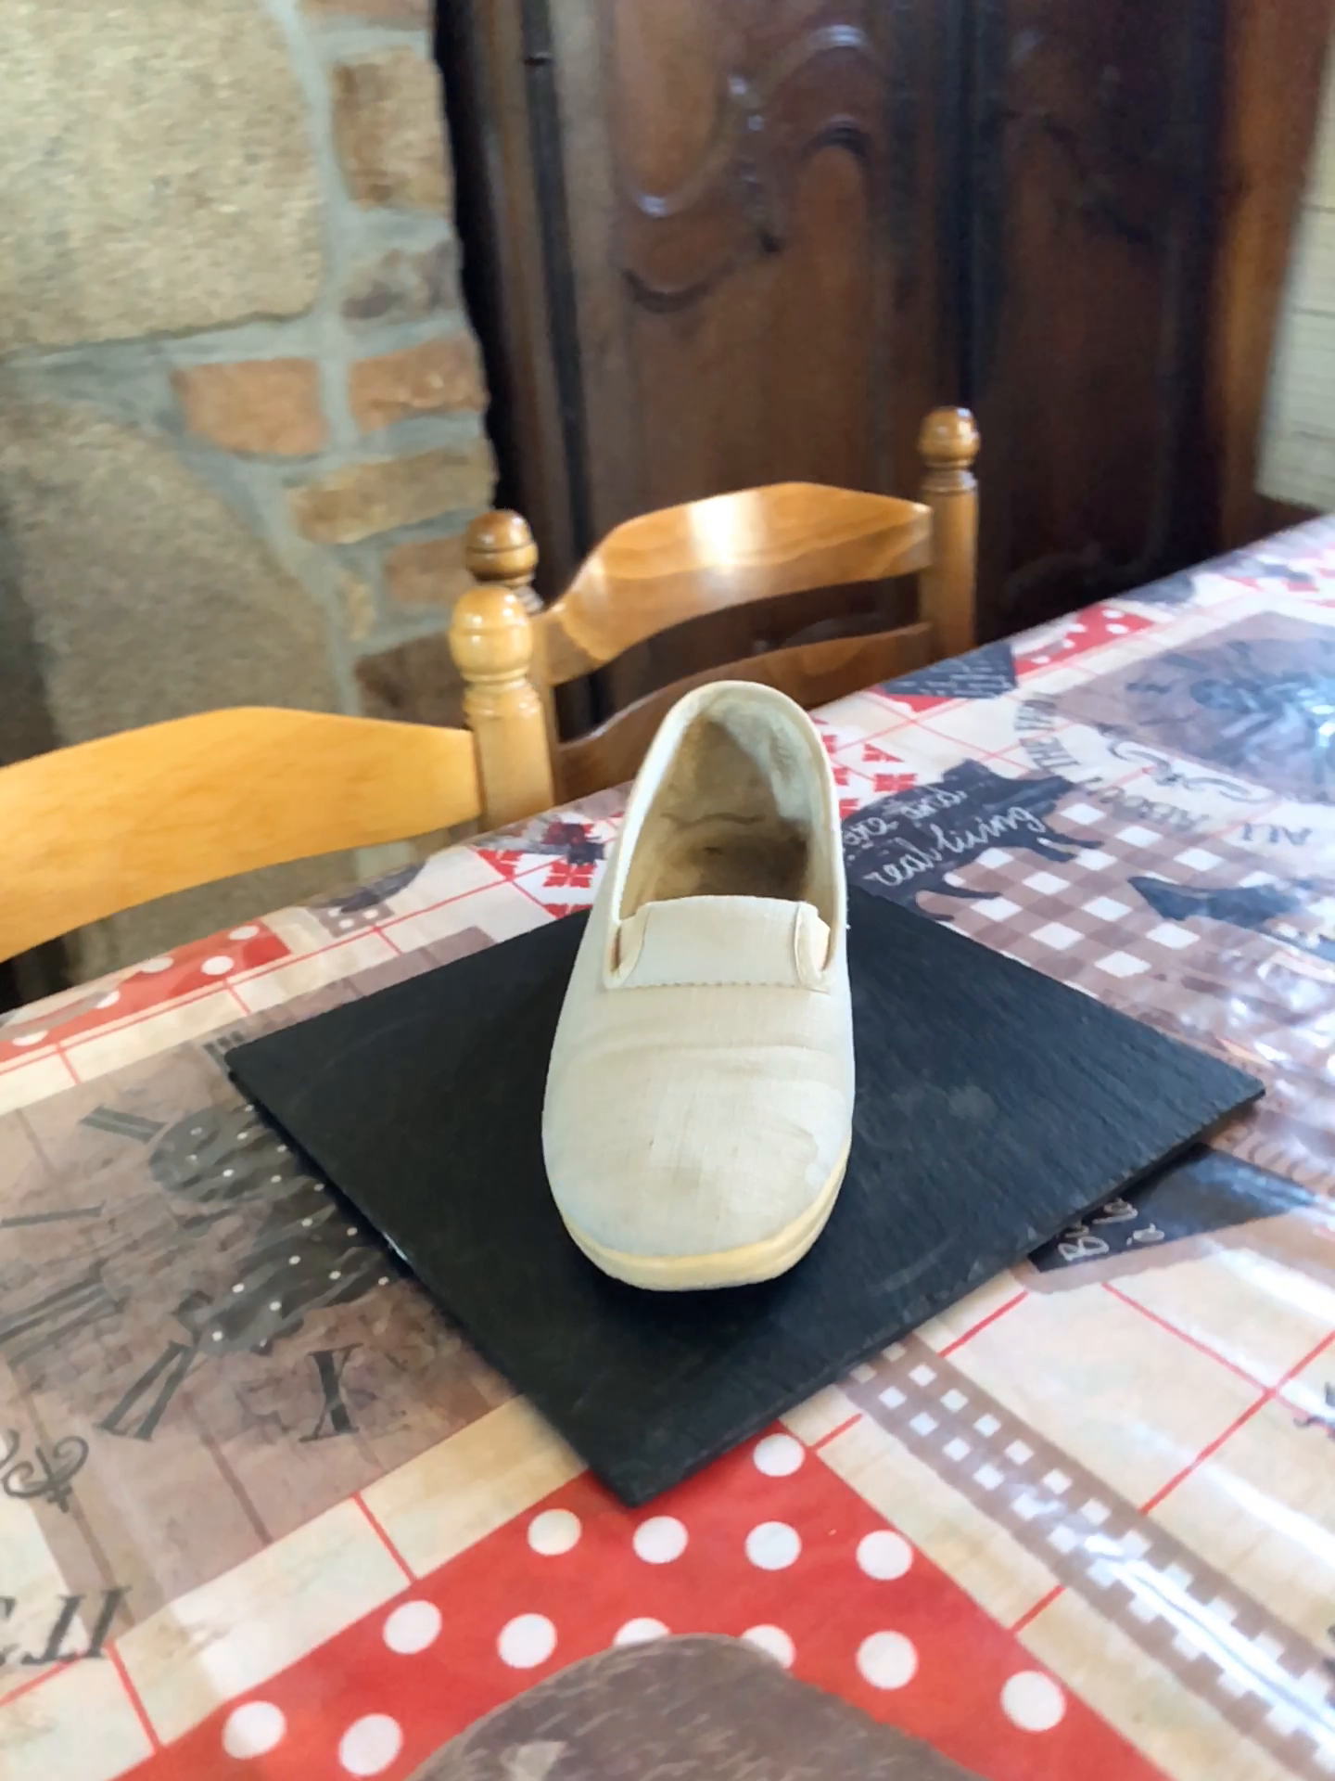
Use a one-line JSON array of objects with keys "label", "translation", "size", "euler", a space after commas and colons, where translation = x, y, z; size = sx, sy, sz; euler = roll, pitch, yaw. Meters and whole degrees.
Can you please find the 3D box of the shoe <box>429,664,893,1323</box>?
[{"label": "shoe", "translation": [0.011, 0.011, 0.446], "size": [0.100, 0.080, 0.251], "euler": [-1, 26, 6]}]
